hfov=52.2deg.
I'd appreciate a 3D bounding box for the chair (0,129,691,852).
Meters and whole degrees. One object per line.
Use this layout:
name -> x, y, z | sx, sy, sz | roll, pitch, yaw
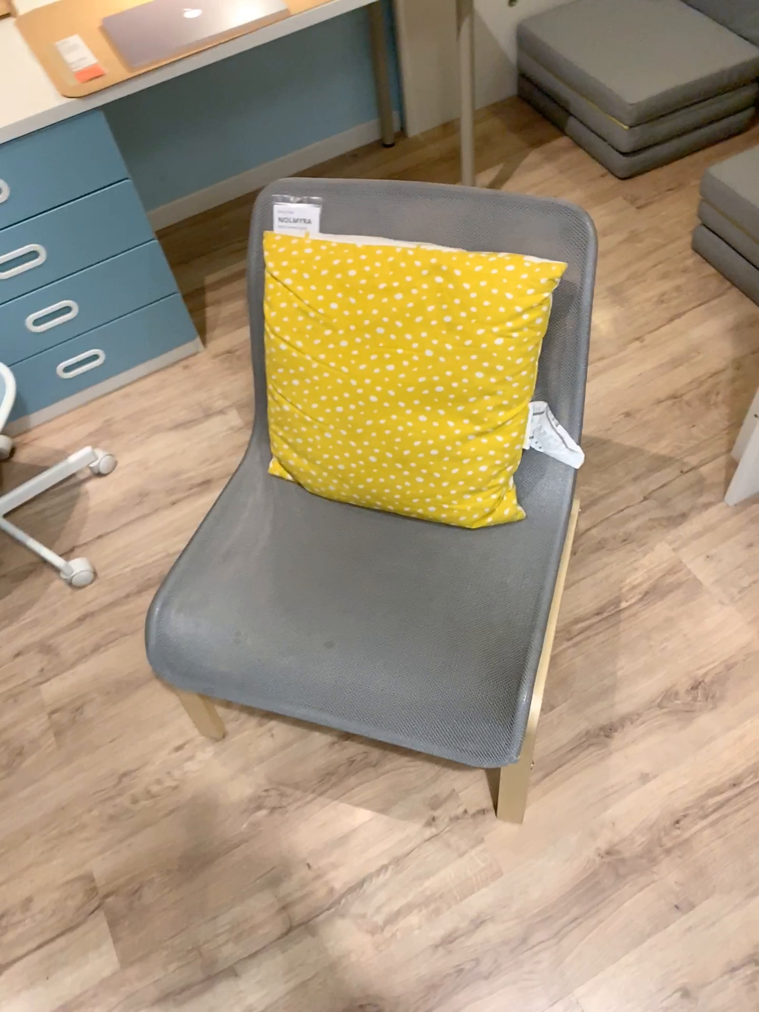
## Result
chair -> 0.021, -0.009, 1.127 | 0.631, 0.708, 0.671 | 10, 57, 15
